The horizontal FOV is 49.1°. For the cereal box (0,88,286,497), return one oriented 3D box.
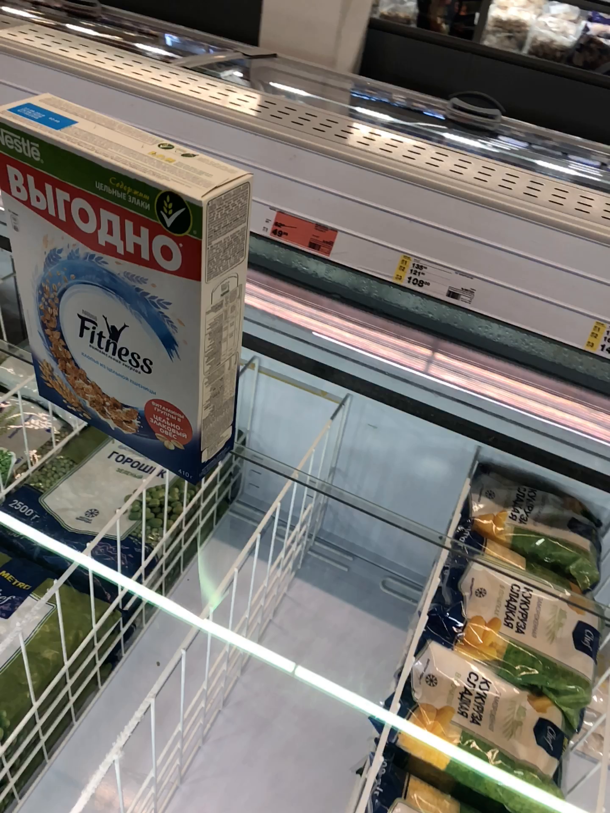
[{"bbox_3d":[-0.129,-0.081,0.537,0.200,0.268,0.060,27,44,19],"label":"cereal box"}]
